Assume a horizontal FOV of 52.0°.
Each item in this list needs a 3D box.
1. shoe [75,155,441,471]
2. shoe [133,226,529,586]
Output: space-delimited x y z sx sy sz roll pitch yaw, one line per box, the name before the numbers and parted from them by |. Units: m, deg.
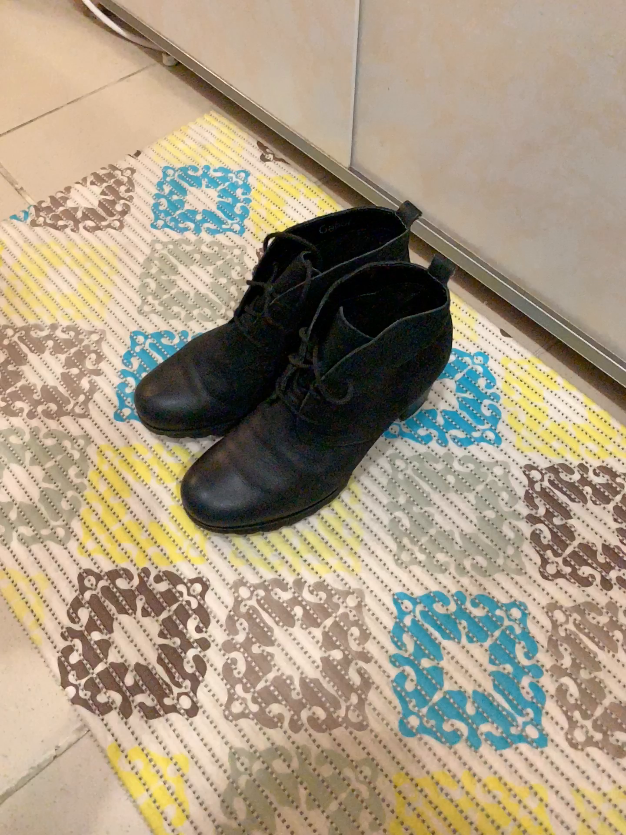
shoe | -0.035 -0.076 0.496 0.230 0.150 0.090 -26 64 -14
shoe | 0.015 -0.004 0.453 0.230 0.150 0.090 -32 65 -17
